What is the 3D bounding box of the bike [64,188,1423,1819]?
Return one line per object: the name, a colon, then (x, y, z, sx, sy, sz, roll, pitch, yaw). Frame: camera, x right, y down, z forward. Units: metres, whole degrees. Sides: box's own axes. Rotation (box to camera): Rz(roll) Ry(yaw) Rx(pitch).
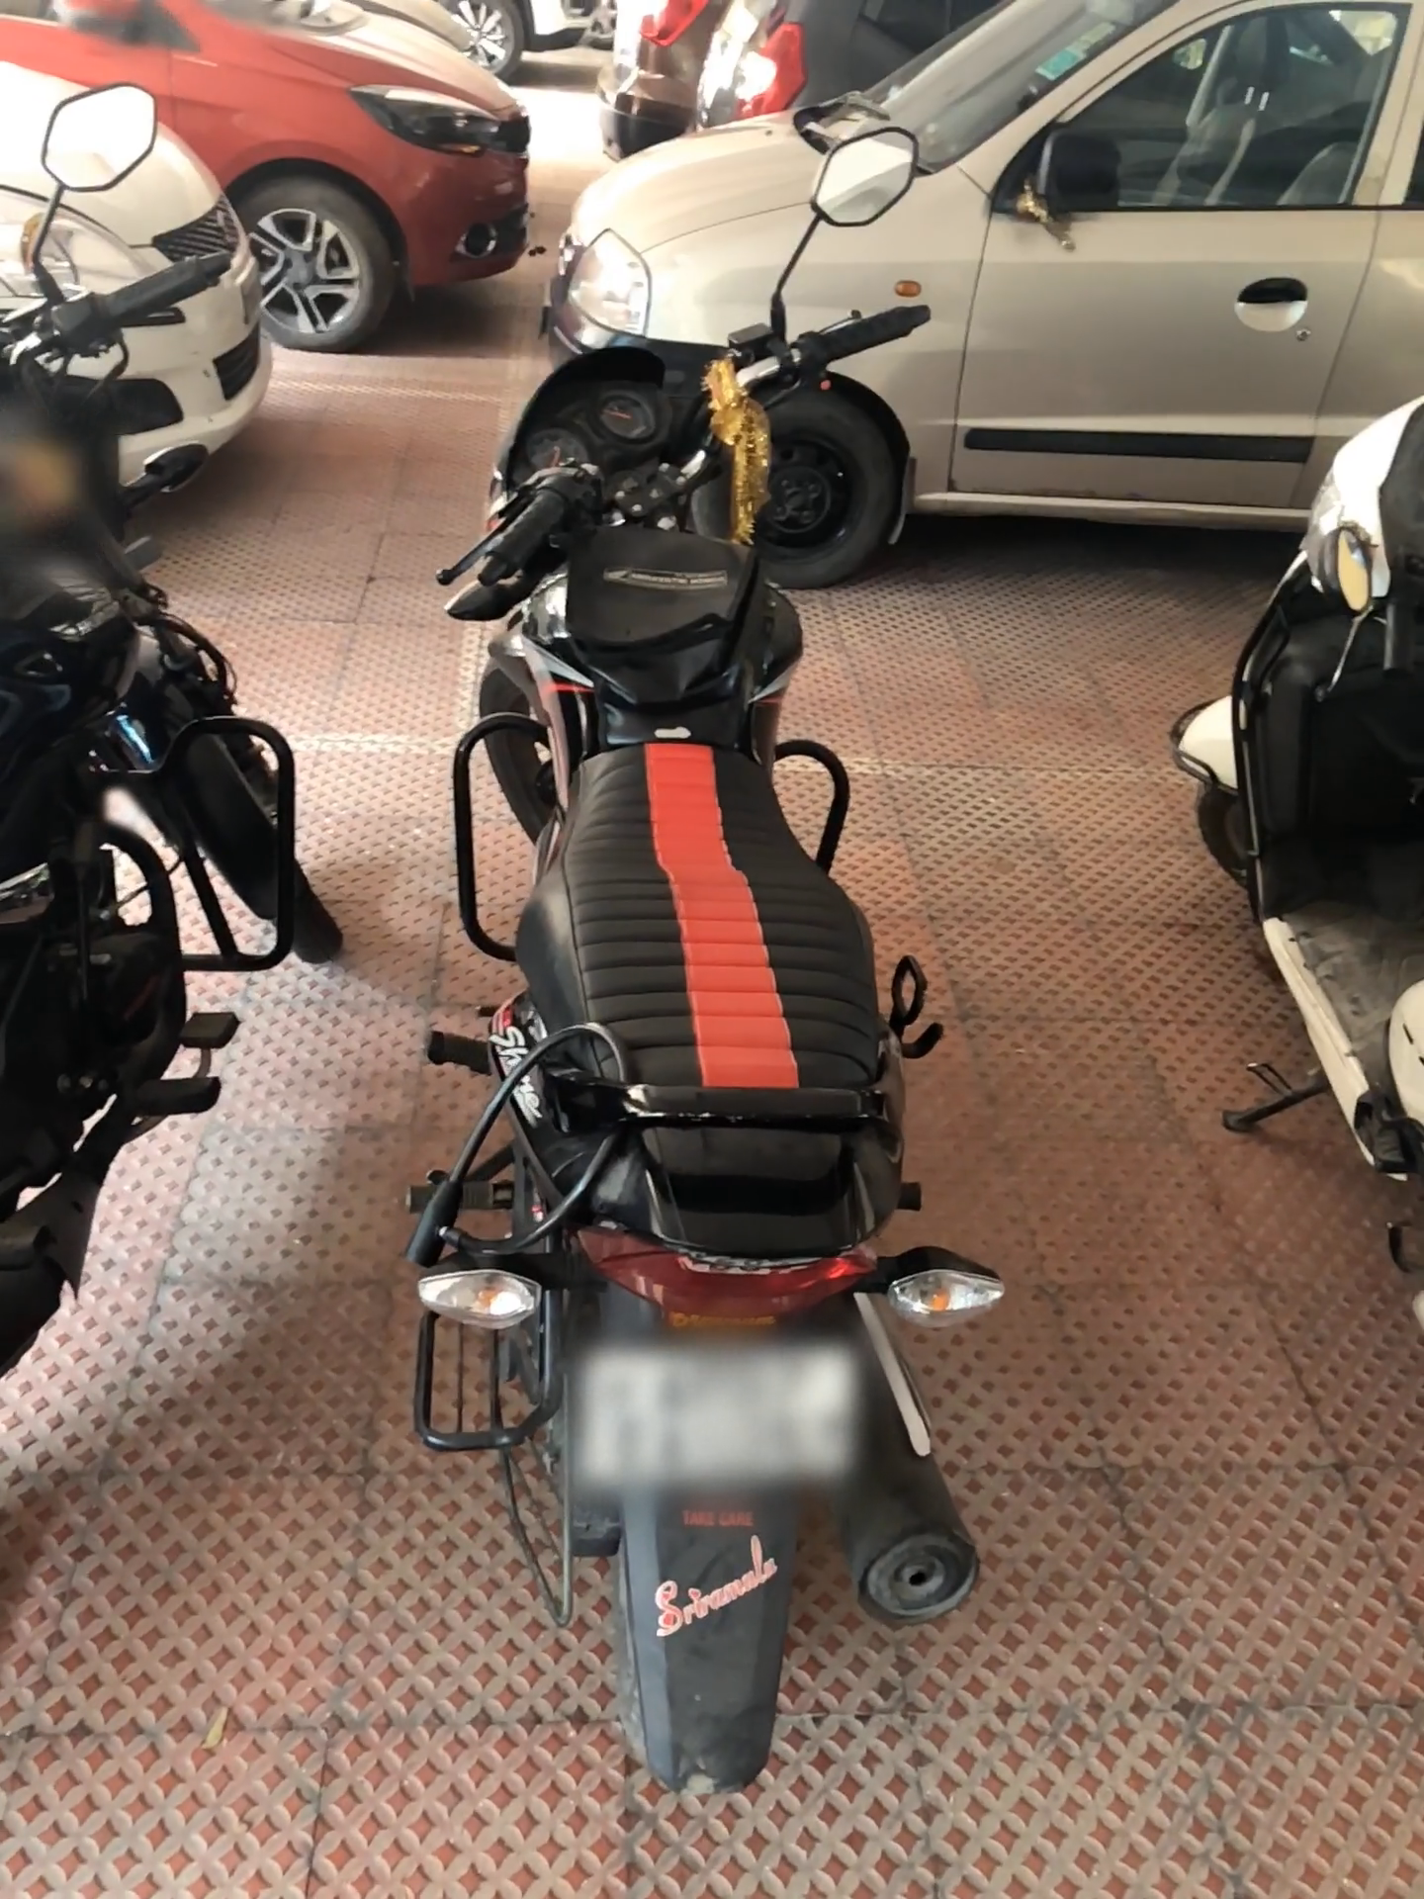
bike: (-0.184, -0.106, 1.730, 0.746, 1.010, 1.561, -4, 36, -13)
